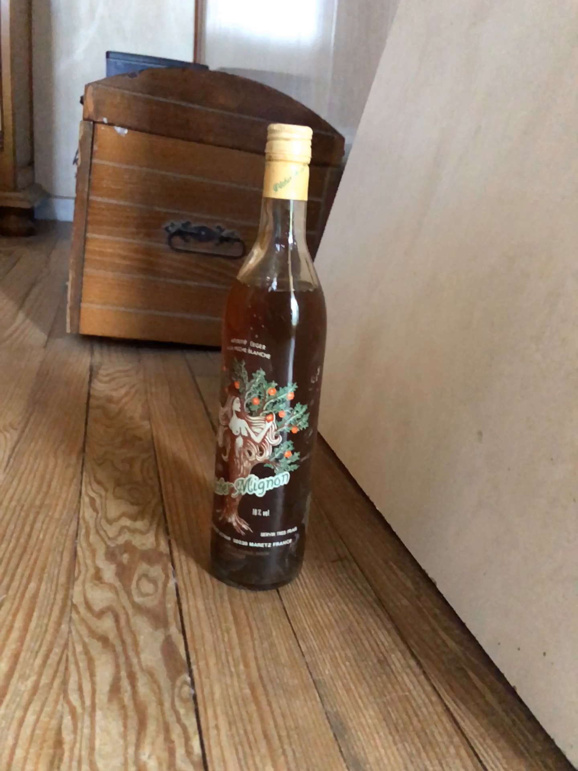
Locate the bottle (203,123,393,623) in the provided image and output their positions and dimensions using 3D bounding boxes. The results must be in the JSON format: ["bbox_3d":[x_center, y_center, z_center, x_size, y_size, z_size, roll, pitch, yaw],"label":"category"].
[{"bbox_3d":[0.000,-0.005,0.440,0.080,0.319,0.070,15,21,30],"label":"bottle"}]
